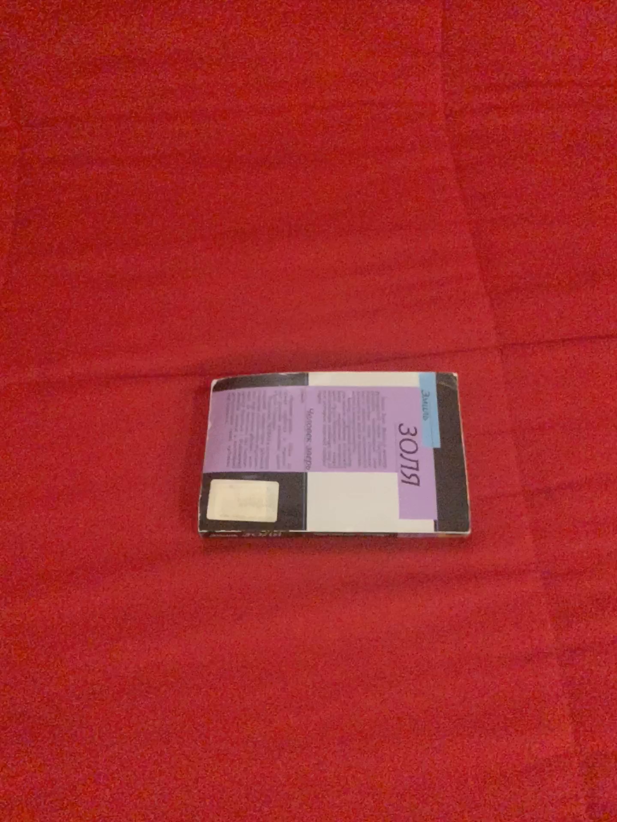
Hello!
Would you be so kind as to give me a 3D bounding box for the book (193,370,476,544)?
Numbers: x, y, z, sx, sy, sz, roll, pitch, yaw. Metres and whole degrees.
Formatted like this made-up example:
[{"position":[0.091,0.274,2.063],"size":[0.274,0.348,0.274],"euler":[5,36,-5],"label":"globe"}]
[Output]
[{"position":[0.016,0.030,0.420],"size":[0.170,0.034,0.109],"euler":[0,67,2],"label":"book"}]
